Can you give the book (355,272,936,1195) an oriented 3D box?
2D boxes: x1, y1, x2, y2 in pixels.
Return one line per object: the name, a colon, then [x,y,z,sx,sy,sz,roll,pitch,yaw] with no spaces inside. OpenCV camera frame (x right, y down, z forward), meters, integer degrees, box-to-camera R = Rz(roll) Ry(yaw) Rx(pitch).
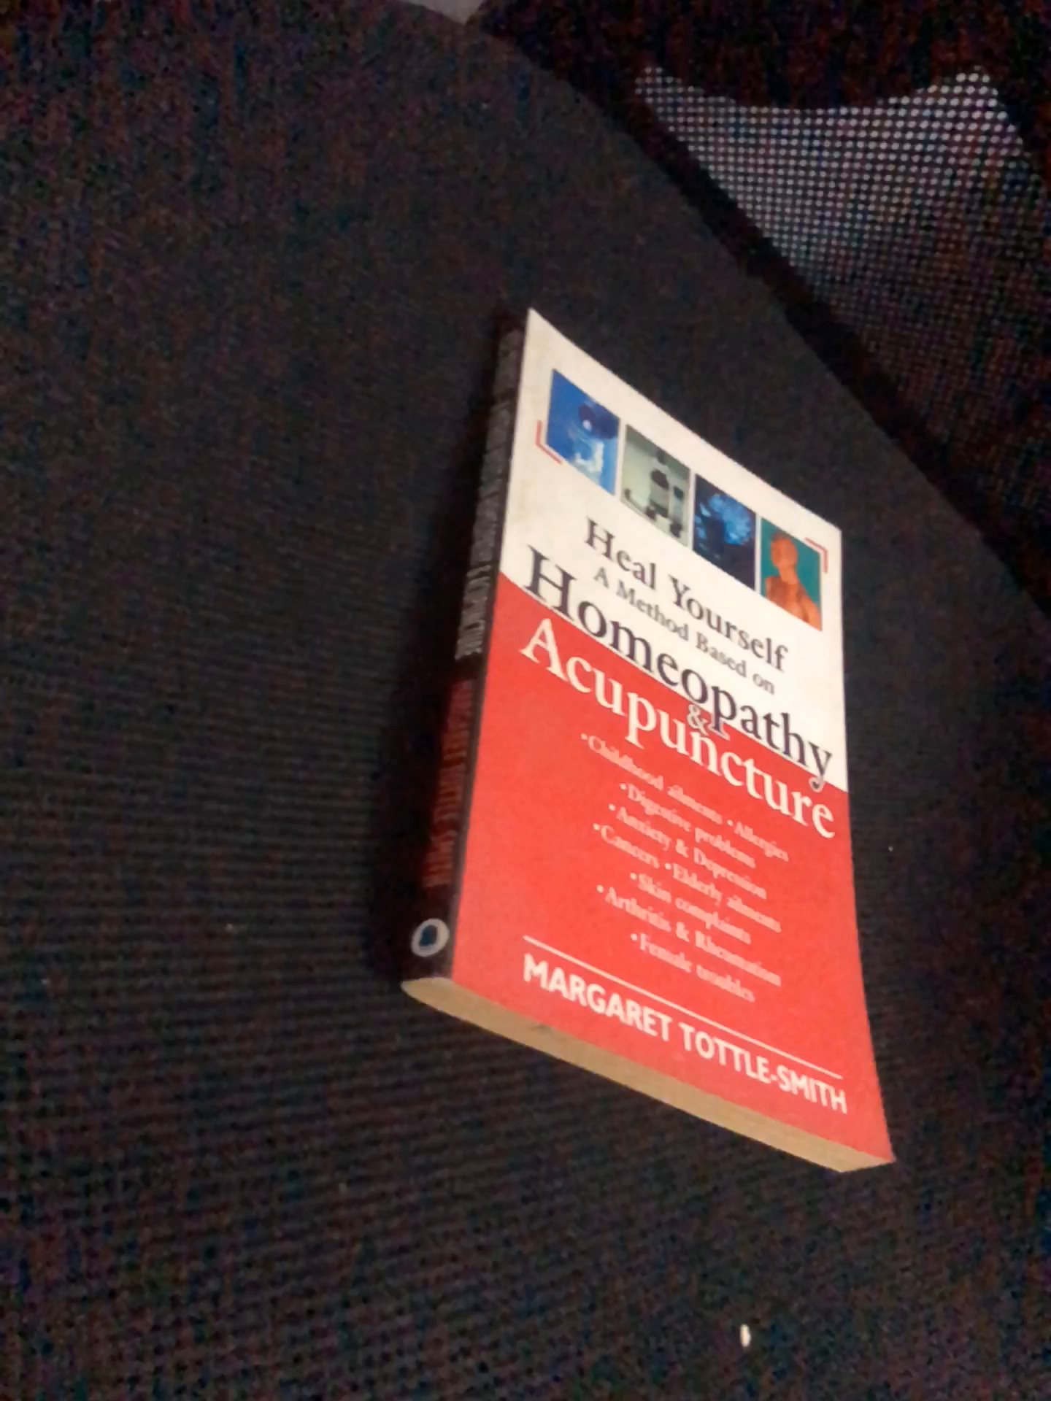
book: [0.043,-0.001,0.315,0.151,0.020,0.221,29,47,-27]
